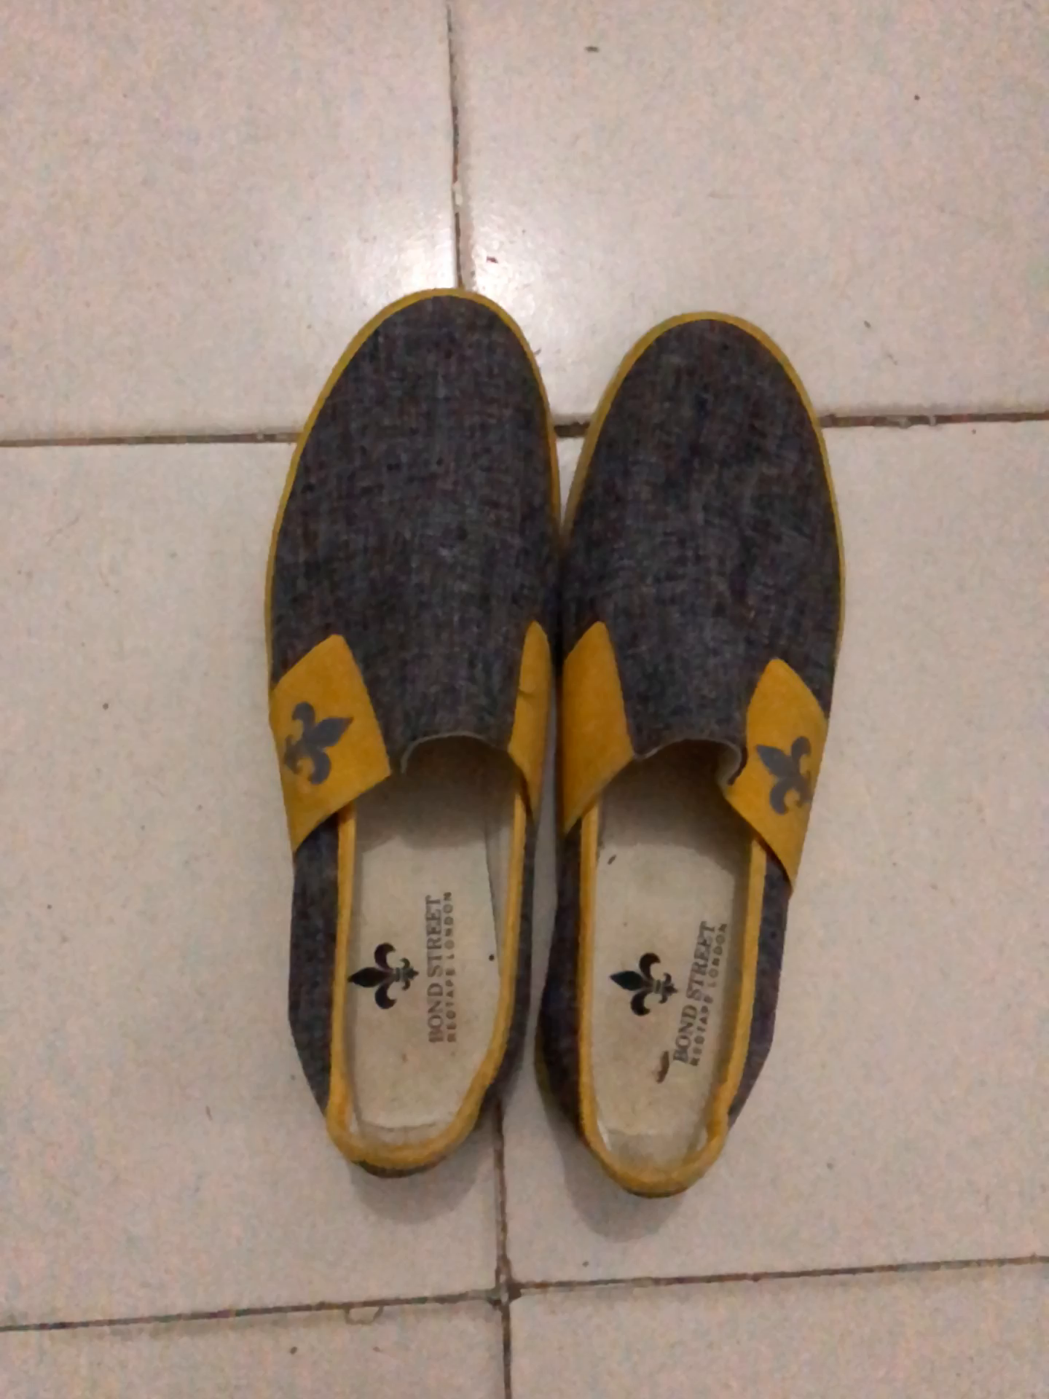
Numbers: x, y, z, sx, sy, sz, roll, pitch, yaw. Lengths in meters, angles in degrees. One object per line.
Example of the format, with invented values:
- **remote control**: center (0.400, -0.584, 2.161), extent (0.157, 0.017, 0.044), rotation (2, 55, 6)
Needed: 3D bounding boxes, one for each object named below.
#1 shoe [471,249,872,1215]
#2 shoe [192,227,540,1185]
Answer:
- **shoe**: center (0.041, 0.009, 0.371), extent (0.090, 0.100, 0.260), rotation (6, 85, -2)
- **shoe**: center (-0.048, 0.002, 0.403), extent (0.100, 0.100, 0.290), rotation (1, 85, -3)
